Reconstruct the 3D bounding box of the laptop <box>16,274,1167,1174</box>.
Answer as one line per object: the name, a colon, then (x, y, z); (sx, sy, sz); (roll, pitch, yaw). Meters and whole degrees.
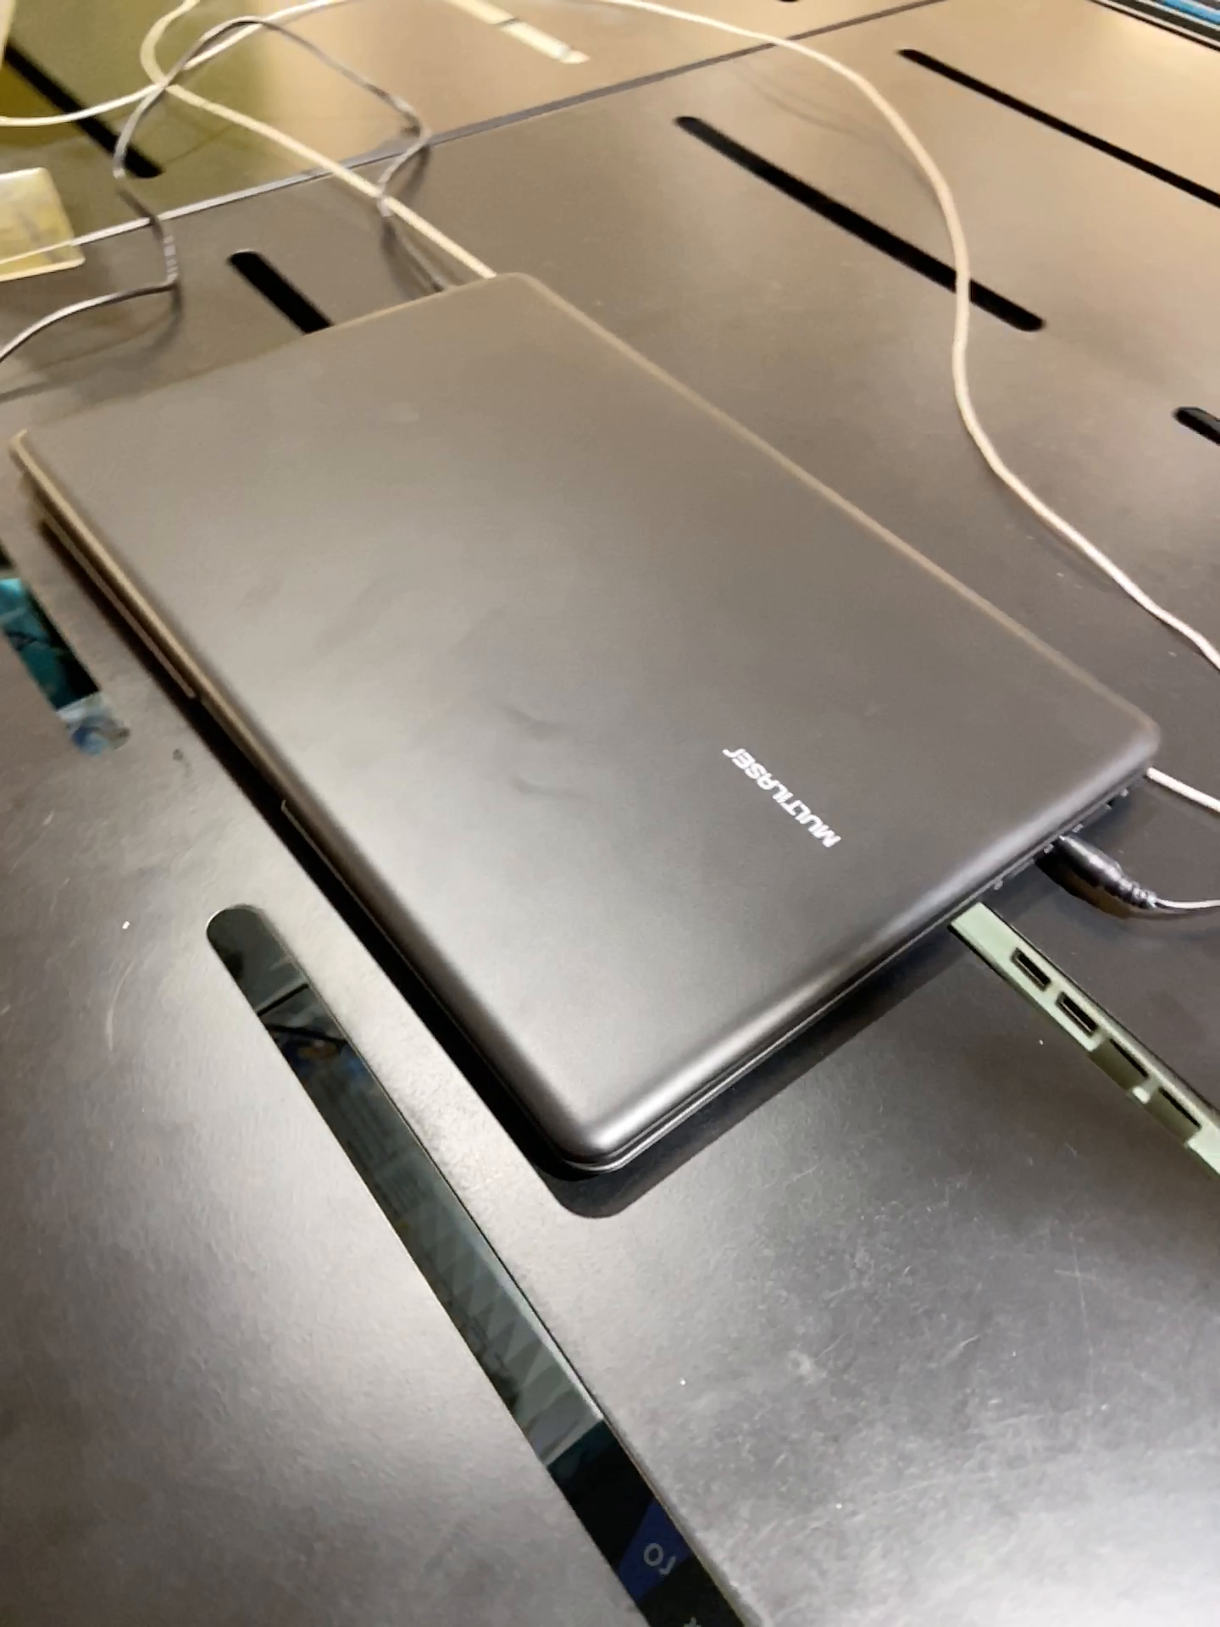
laptop: (-0.022, -0.071, 0.399); (0.211, 0.001, 0.325); (-31, 59, -24)
